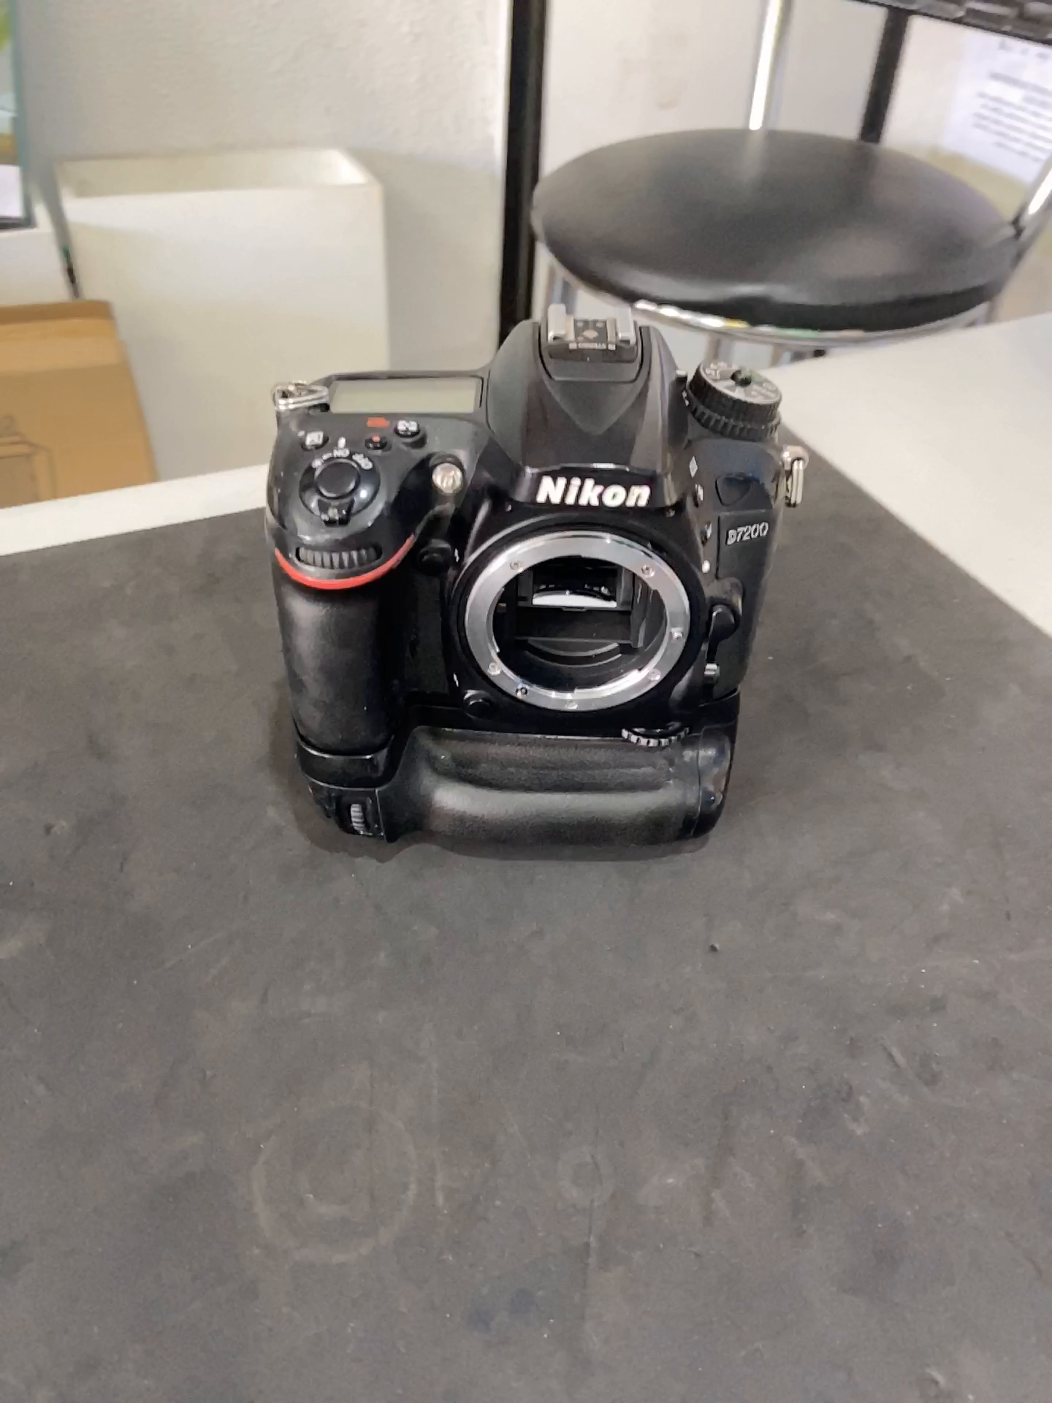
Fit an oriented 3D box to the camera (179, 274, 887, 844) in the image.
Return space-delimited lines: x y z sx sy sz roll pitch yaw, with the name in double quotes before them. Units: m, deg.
"camera" 0.000 -0.038 0.289 0.140 0.109 0.101 1 41 -1
